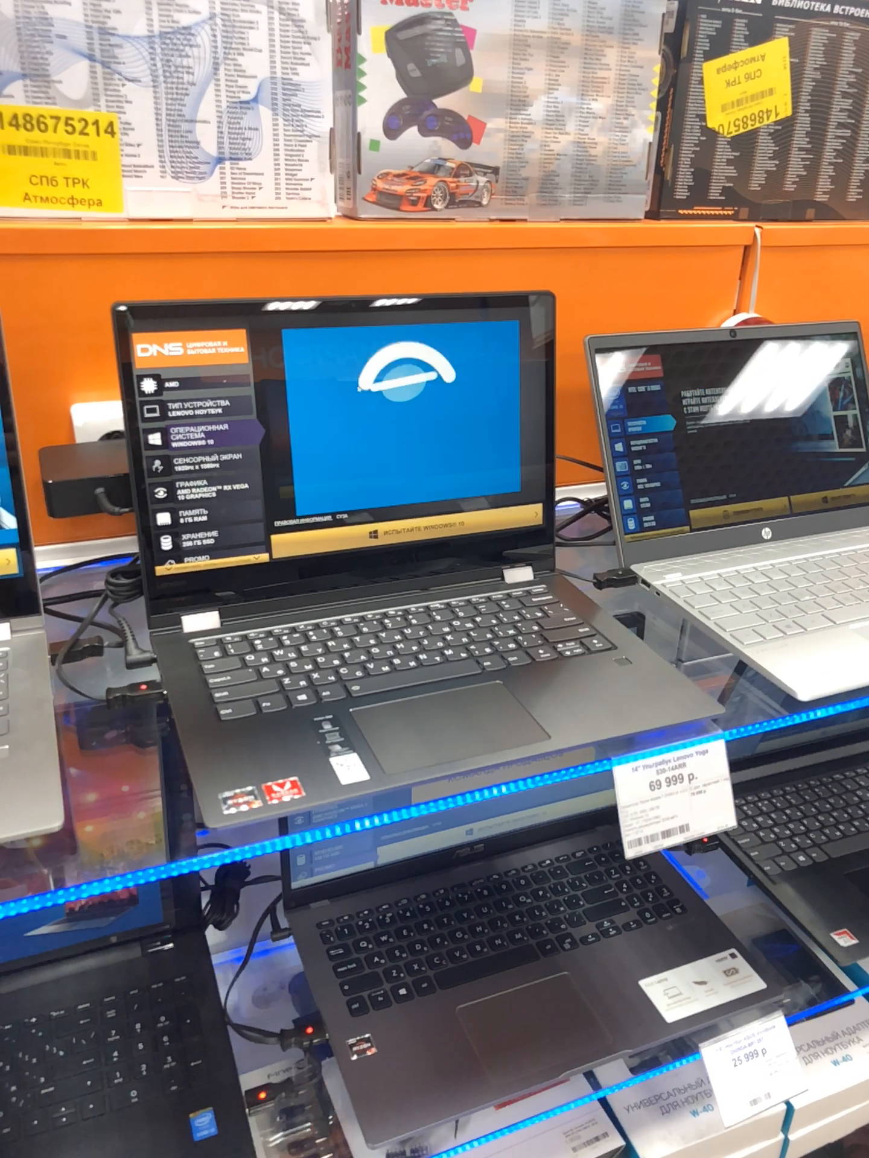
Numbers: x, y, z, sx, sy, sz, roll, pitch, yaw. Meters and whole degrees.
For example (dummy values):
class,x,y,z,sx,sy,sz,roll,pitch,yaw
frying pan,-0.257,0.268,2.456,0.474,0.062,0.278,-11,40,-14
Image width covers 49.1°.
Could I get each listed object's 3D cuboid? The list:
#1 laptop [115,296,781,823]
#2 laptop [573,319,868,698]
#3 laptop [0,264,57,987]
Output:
class,x,y,z,sx,sy,sz,roll,pitch,yaw
laptop,-0.012,-0.046,0.606,0.320,0.215,0.256,-8,27,-22
laptop,0.331,-0.088,0.778,0.316,0.161,0.311,-9,29,-21
laptop,-0.380,-0.018,0.484,0.284,0.202,0.287,-8,29,-27
